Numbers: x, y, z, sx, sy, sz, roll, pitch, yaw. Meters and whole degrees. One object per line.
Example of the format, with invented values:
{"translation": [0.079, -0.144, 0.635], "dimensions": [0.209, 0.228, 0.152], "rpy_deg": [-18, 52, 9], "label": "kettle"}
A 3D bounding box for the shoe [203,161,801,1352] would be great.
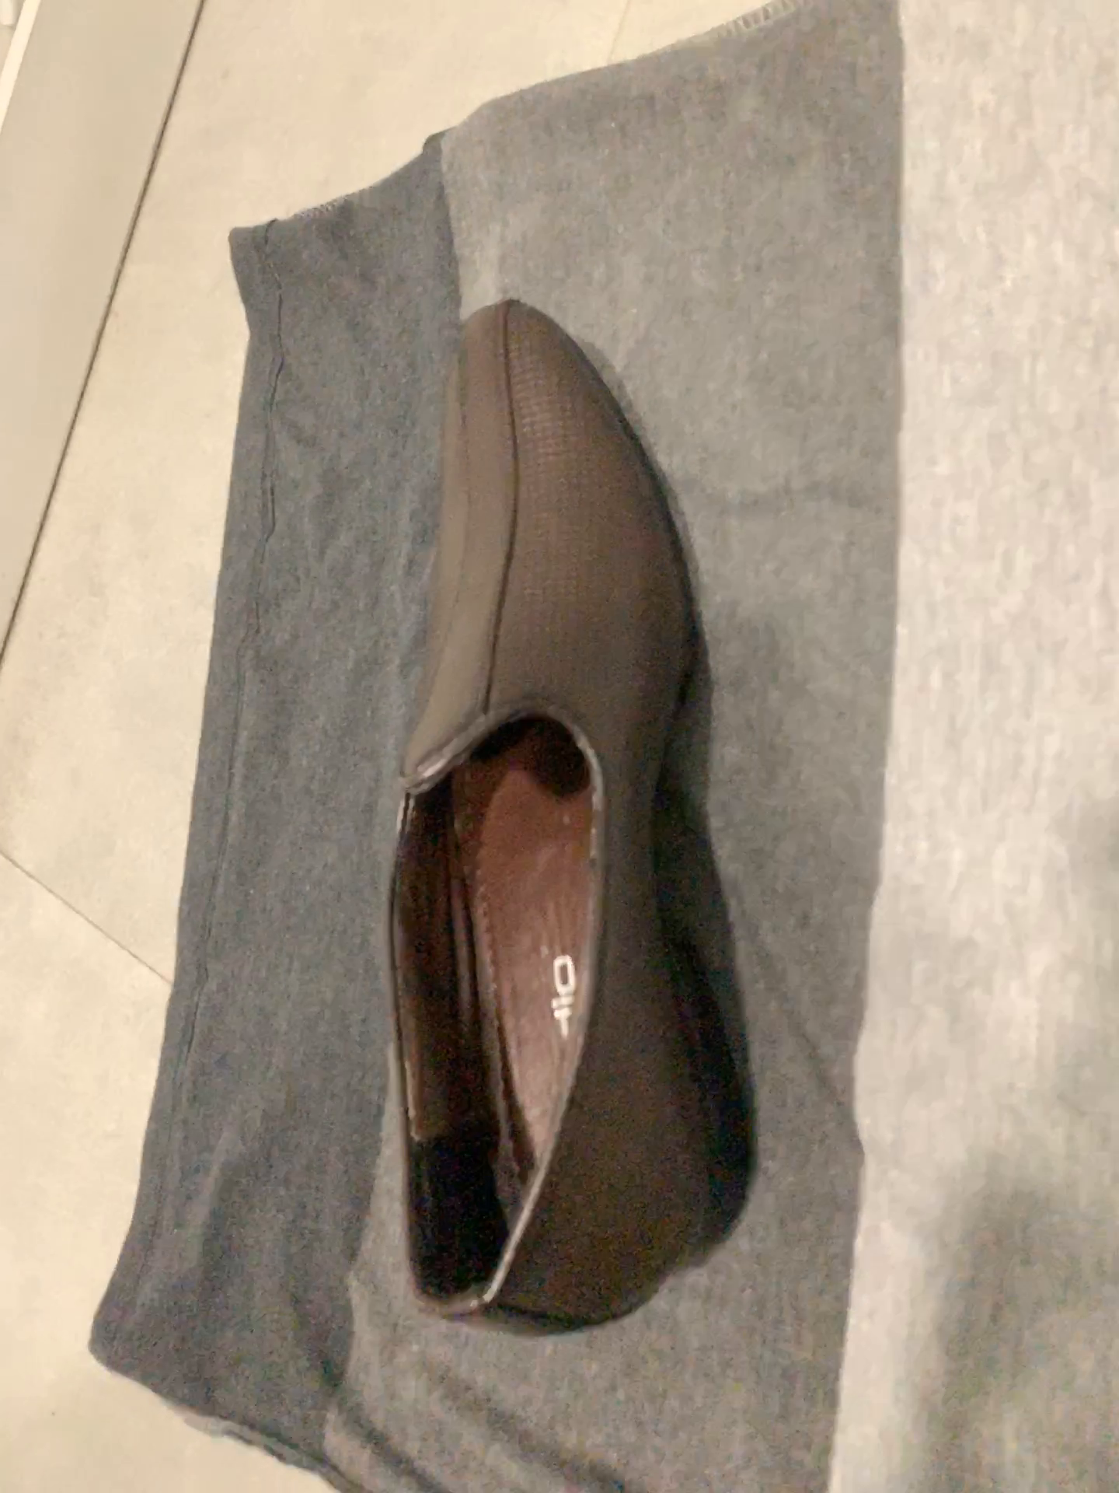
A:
{"translation": [-0.022, 0.003, 0.314], "dimensions": [0.101, 0.099, 0.270], "rpy_deg": [-17, 71, 33], "label": "shoe"}
